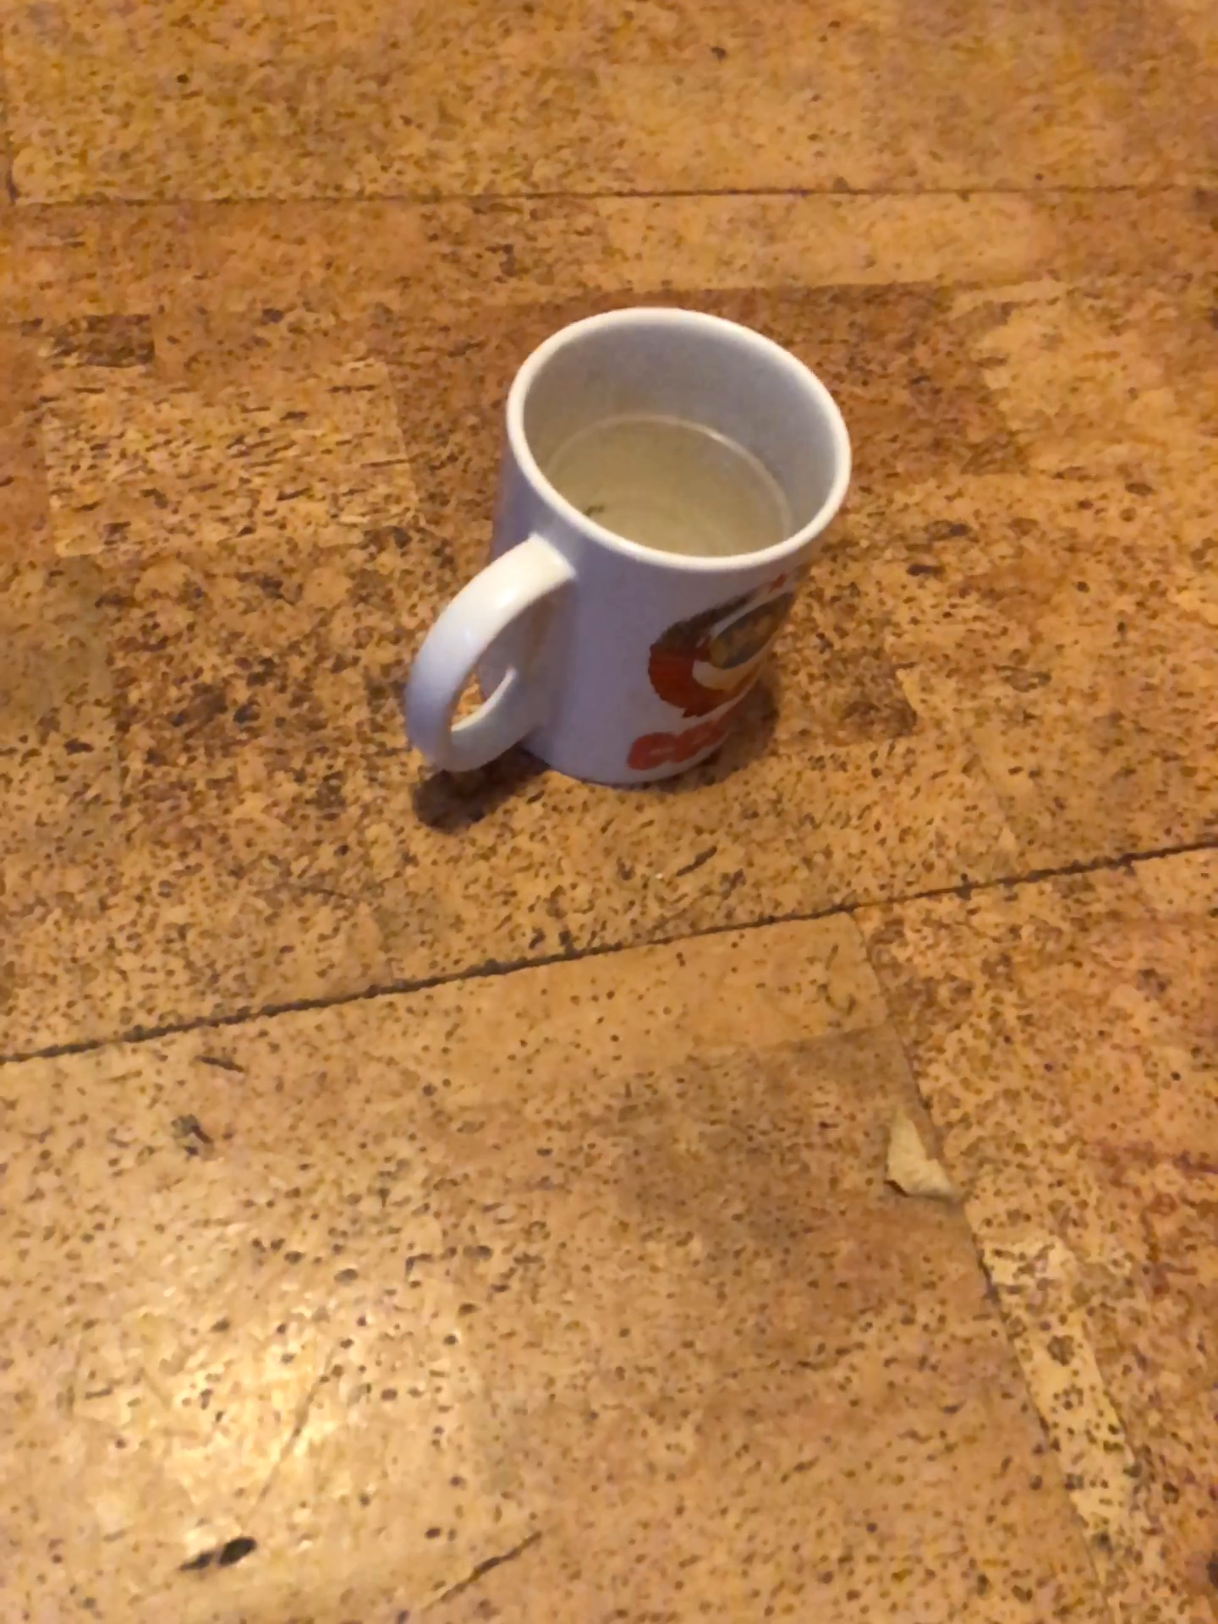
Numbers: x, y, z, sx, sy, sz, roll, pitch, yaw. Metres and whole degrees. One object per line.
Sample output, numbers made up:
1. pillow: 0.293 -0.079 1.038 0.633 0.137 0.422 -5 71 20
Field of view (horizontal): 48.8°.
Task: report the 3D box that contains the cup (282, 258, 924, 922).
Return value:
1. cup: -0.006 -0.055 0.341 0.119 0.100 0.082 -33 72 -25
